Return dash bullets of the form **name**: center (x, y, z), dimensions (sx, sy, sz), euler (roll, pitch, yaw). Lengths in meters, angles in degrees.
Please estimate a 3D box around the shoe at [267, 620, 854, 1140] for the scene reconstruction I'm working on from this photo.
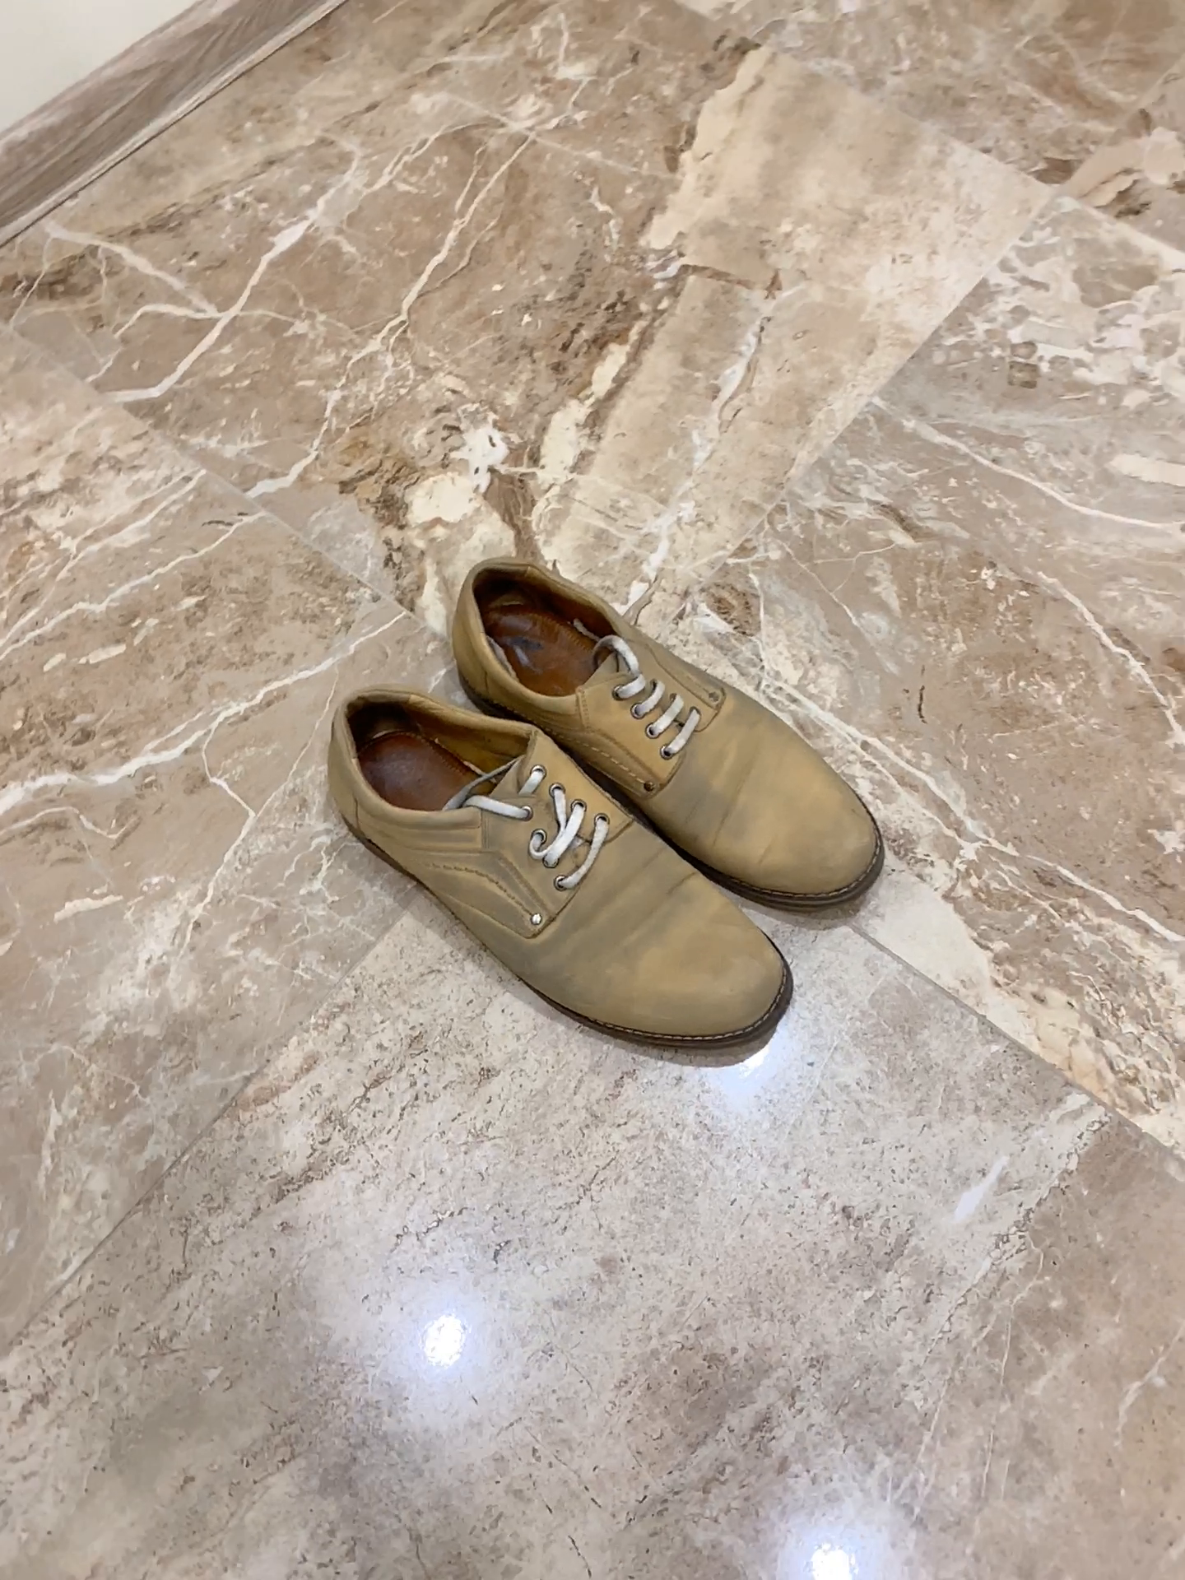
- **shoe**: center (-0.020, 0.043, 0.632), dimensions (0.280, 0.080, 0.110), euler (35, 69, 14)

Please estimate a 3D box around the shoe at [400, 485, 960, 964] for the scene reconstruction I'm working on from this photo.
- **shoe**: center (0.041, -0.040, 0.664), dimensions (0.280, 0.070, 0.110), euler (35, 69, 14)
